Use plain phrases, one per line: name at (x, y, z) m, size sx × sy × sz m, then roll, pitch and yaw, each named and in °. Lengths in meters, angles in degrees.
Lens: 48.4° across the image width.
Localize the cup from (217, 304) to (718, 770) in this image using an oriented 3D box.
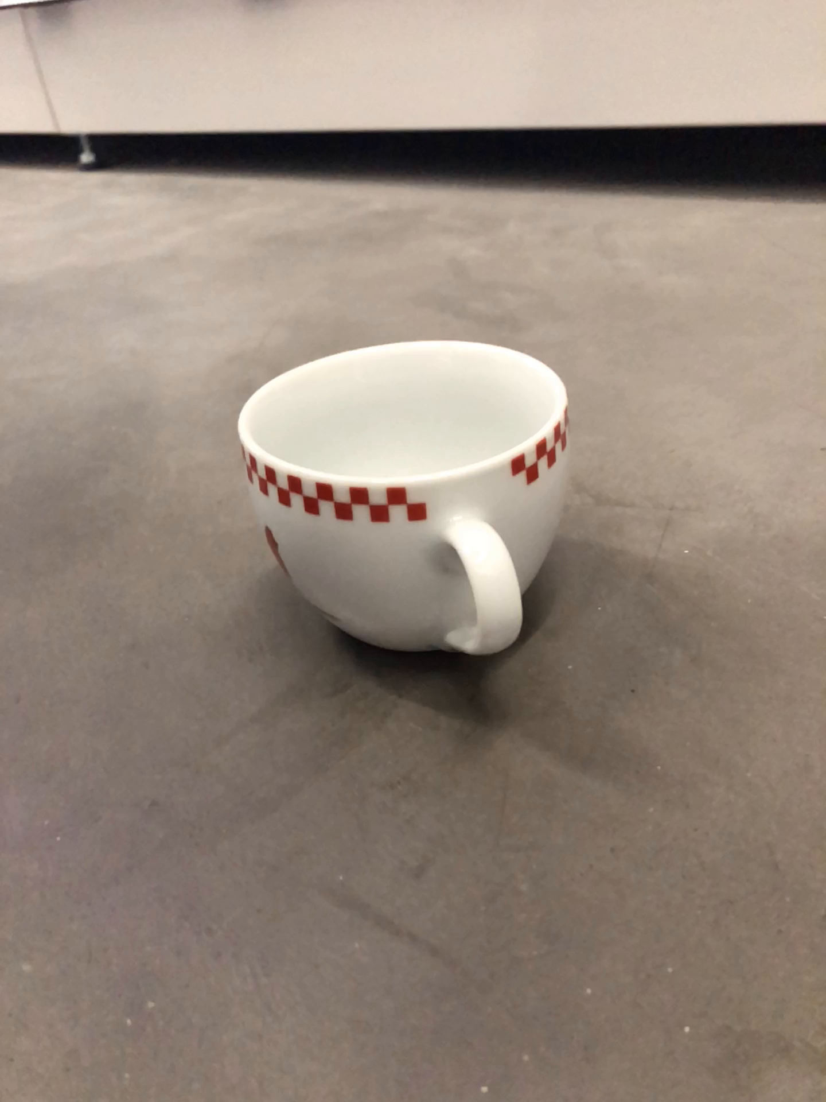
cup at (0.005, -0.014, 0.237) m, size 0.089 × 0.058 × 0.111 m, roll -12°, pitch 32°, yaw -13°
